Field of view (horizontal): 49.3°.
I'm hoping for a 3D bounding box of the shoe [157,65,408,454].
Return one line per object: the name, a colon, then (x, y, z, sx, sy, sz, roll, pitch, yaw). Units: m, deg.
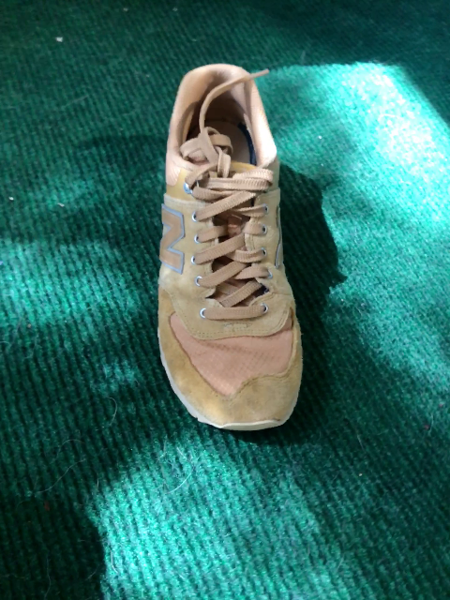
shoe: (0.019, -0.038, 0.356, 0.110, 0.099, 0.261, -5, 63, -9)
